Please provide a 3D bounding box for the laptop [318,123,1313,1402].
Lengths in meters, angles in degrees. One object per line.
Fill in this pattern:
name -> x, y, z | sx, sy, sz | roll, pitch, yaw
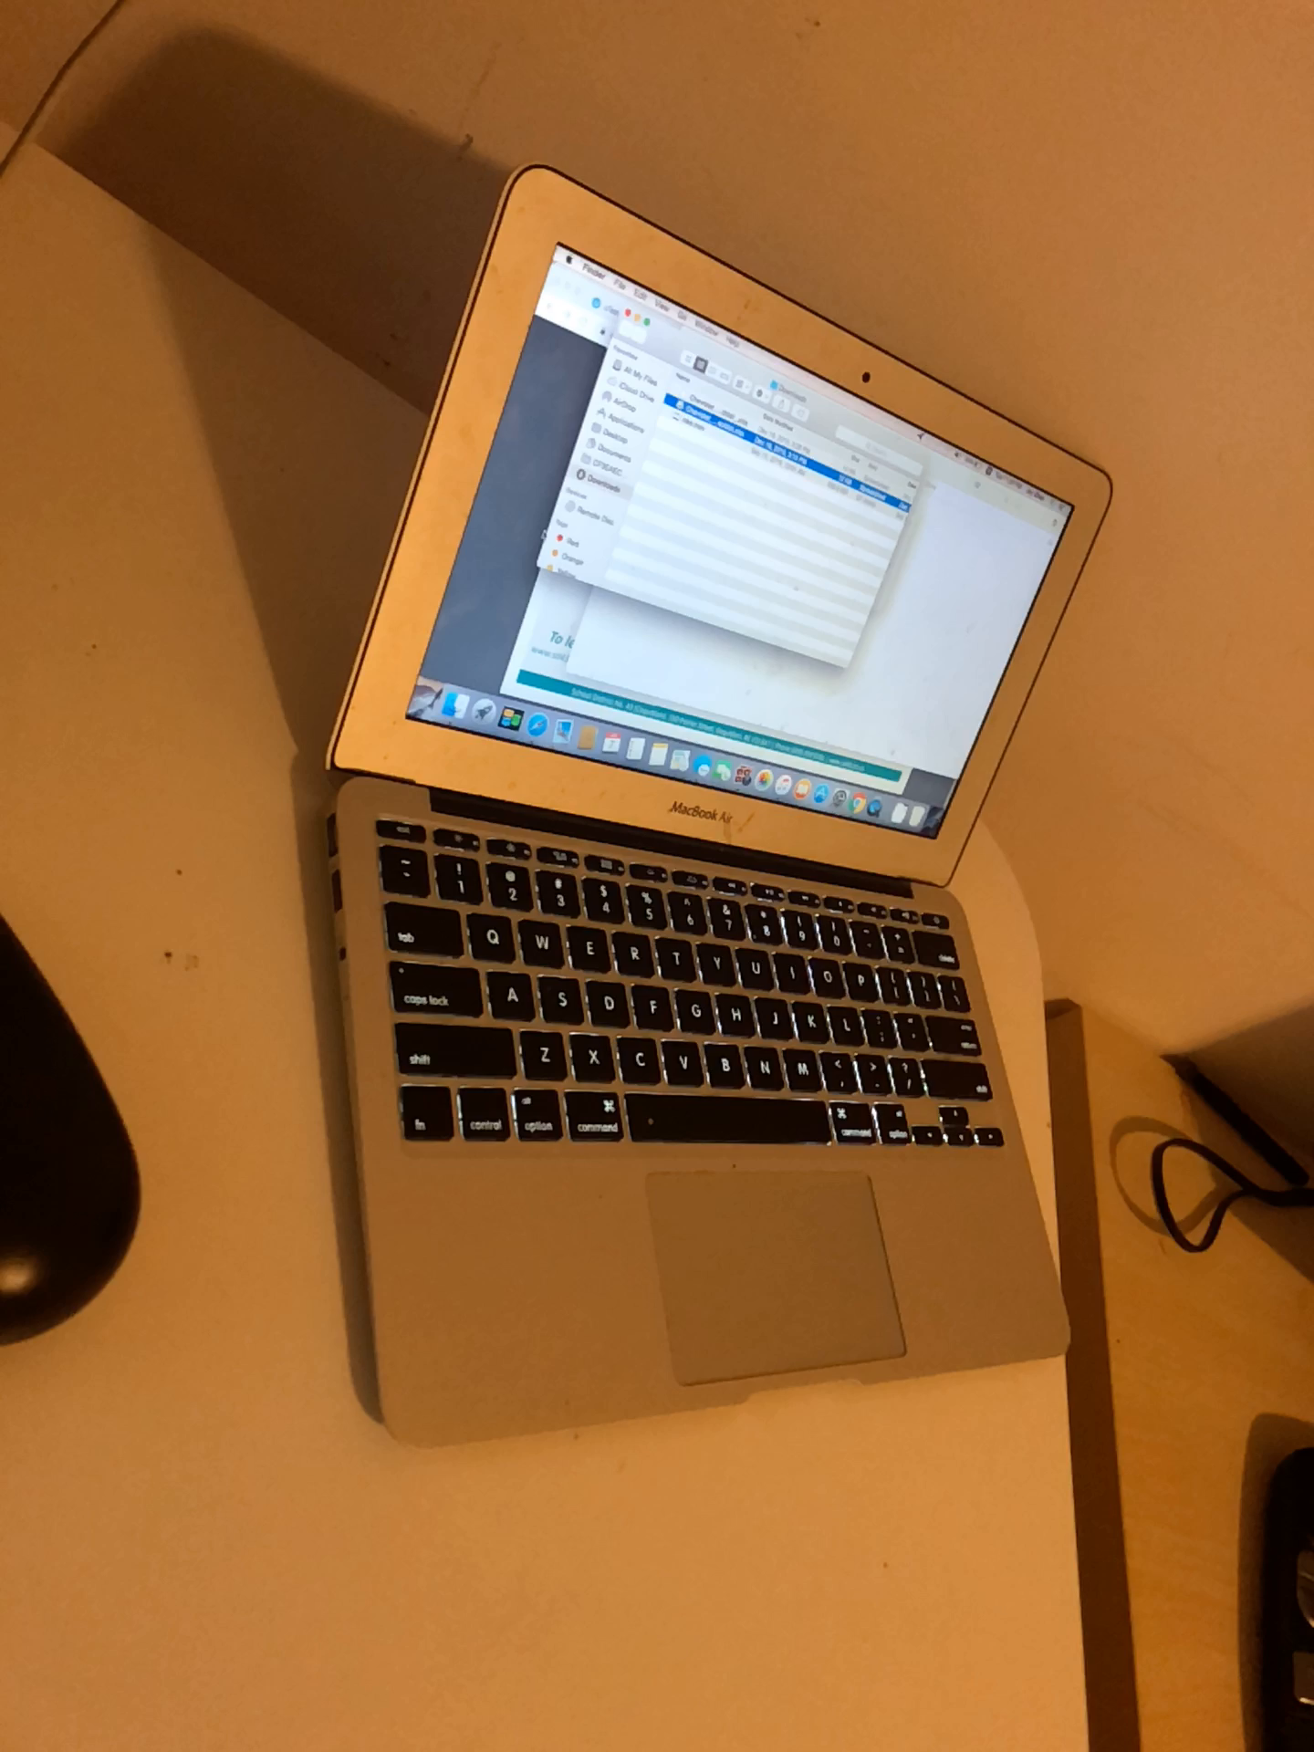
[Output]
laptop -> 0.059, -0.019, 0.462 | 0.281, 0.127, 0.306 | 9, 62, -39
